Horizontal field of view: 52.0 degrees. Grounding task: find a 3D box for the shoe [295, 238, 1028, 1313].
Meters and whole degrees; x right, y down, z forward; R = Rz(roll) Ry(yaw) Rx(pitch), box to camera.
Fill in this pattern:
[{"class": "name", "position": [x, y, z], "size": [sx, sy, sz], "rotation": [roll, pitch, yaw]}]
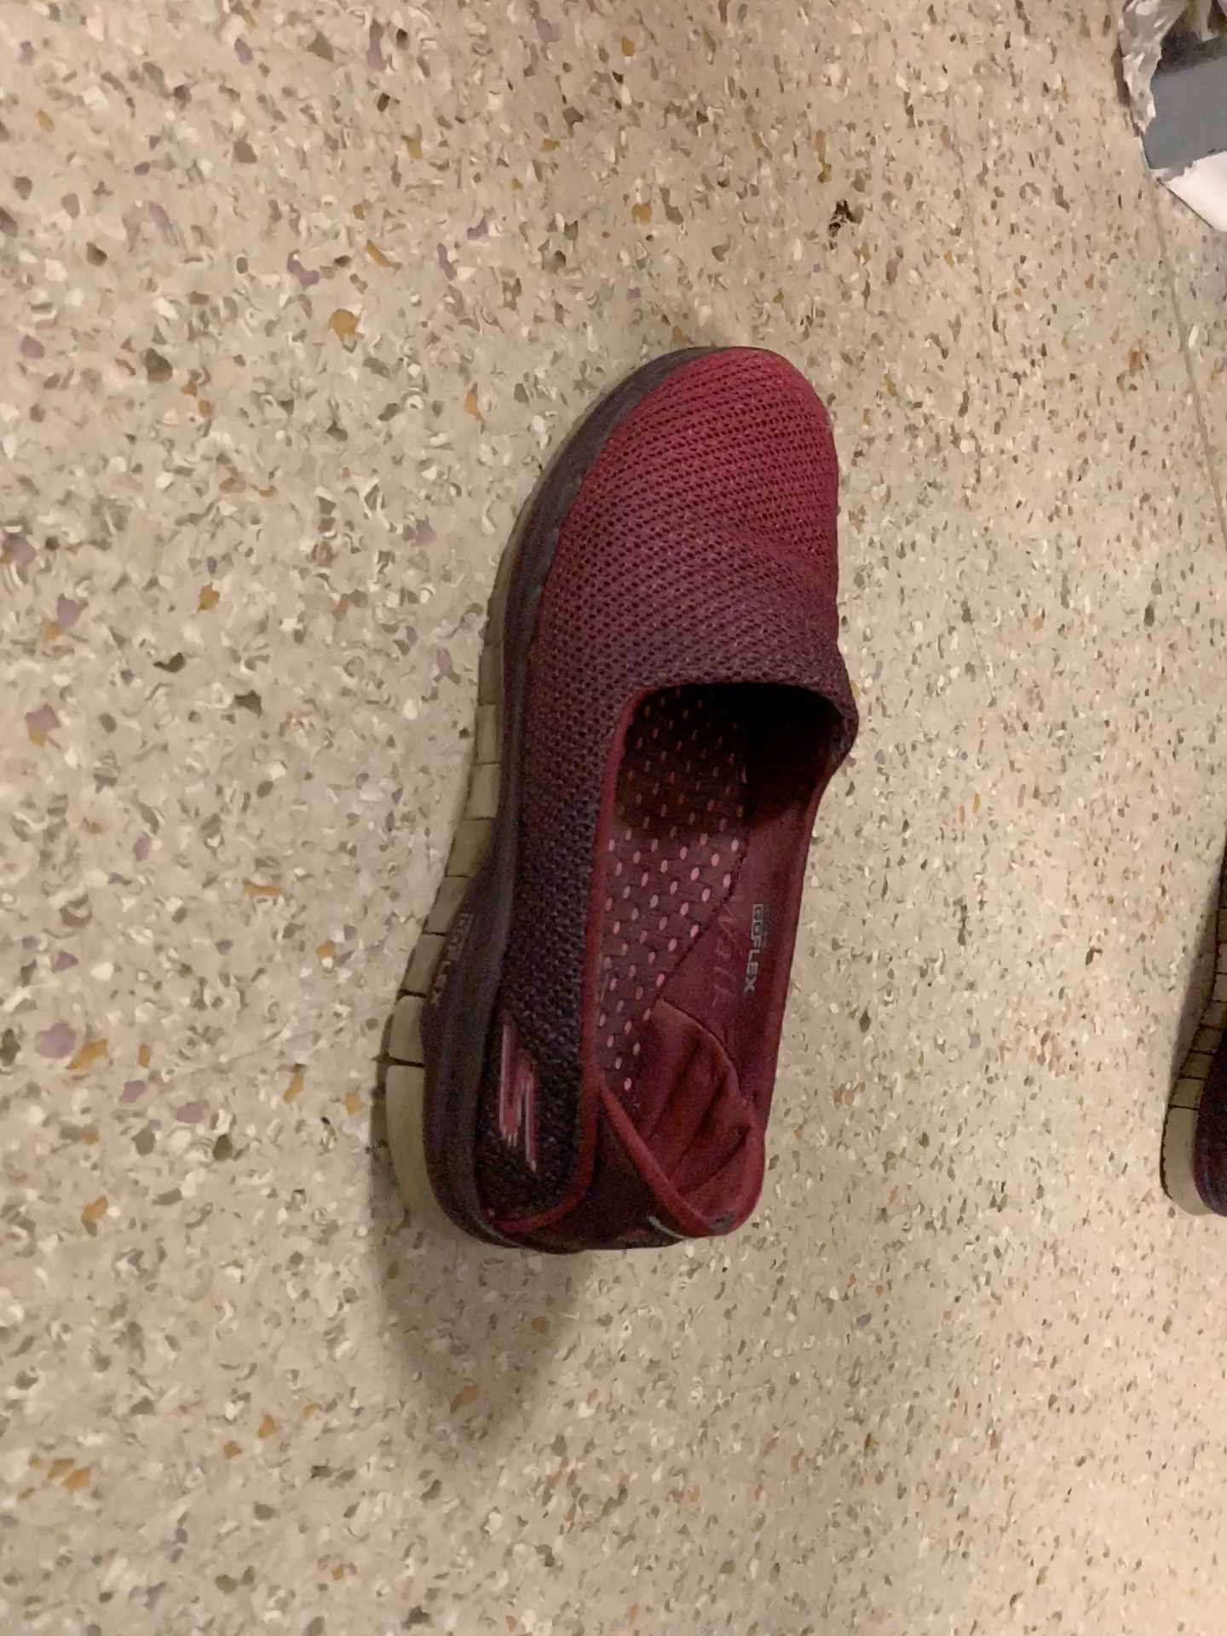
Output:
[{"class": "shoe", "position": [0.017, -0.009, 0.322], "size": [0.092, 0.091, 0.229], "rotation": [26, 76, -40]}]
